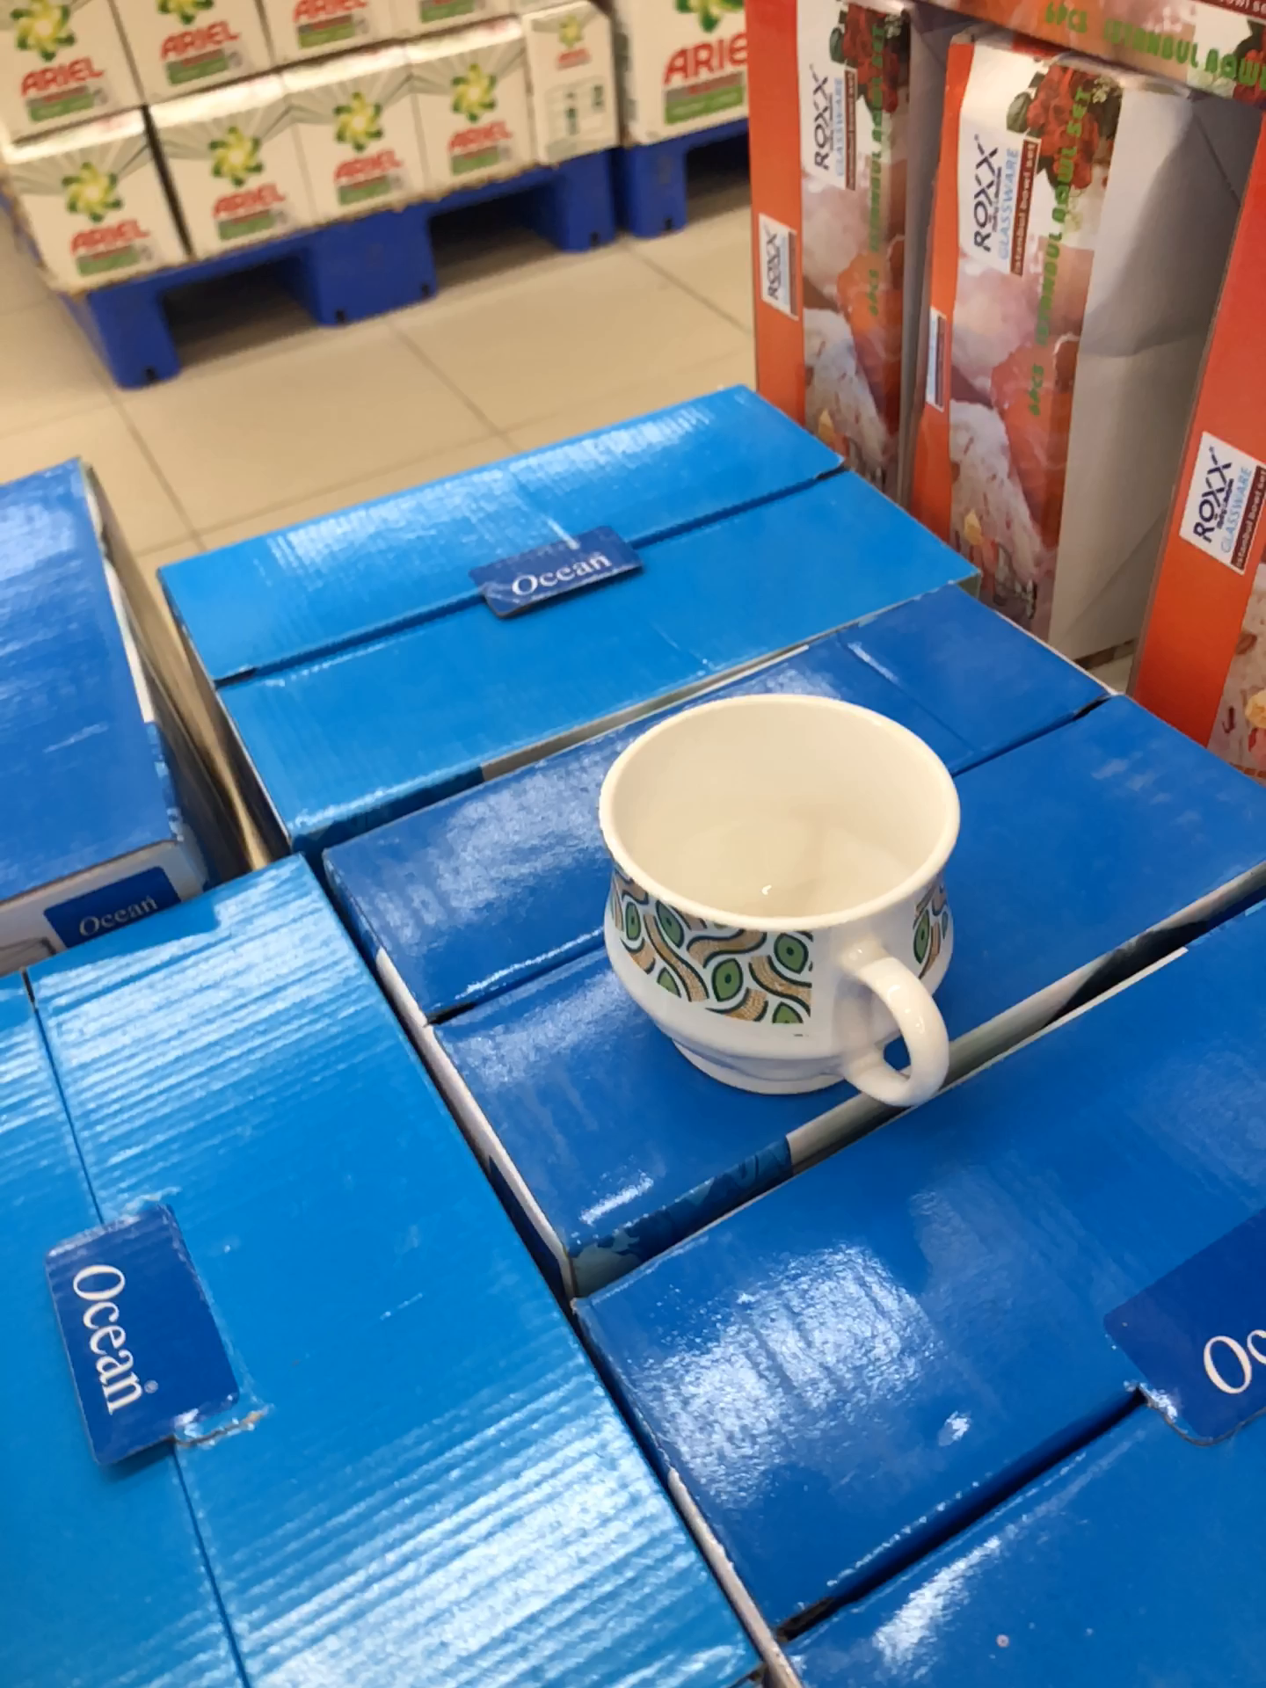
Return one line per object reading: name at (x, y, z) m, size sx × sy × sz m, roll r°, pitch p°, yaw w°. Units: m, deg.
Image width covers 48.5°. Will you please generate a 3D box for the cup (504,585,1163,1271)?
cup at (0.033, 0.011, 0.270) m, size 0.070 × 0.060 × 0.100 m, roll -25°, pitch 48°, yaw -18°
